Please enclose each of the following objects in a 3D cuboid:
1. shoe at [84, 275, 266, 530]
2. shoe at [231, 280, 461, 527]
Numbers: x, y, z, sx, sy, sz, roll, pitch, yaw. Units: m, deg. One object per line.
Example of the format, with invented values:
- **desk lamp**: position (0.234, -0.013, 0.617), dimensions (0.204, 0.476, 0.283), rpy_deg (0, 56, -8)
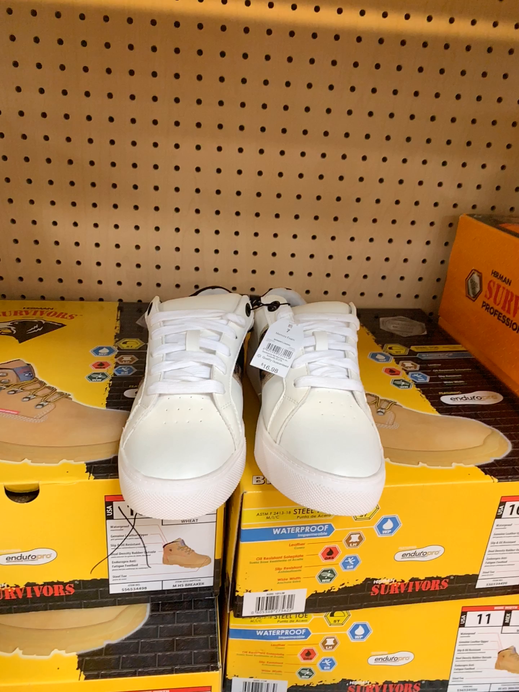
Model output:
- **shoe**: position (-0.051, 0.023, 0.420), dimensions (0.100, 0.072, 0.246), rpy_deg (3, 27, -3)
- **shoe**: position (0.045, 0.027, 0.427), dimensions (0.102, 0.070, 0.242), rpy_deg (3, 26, -12)
